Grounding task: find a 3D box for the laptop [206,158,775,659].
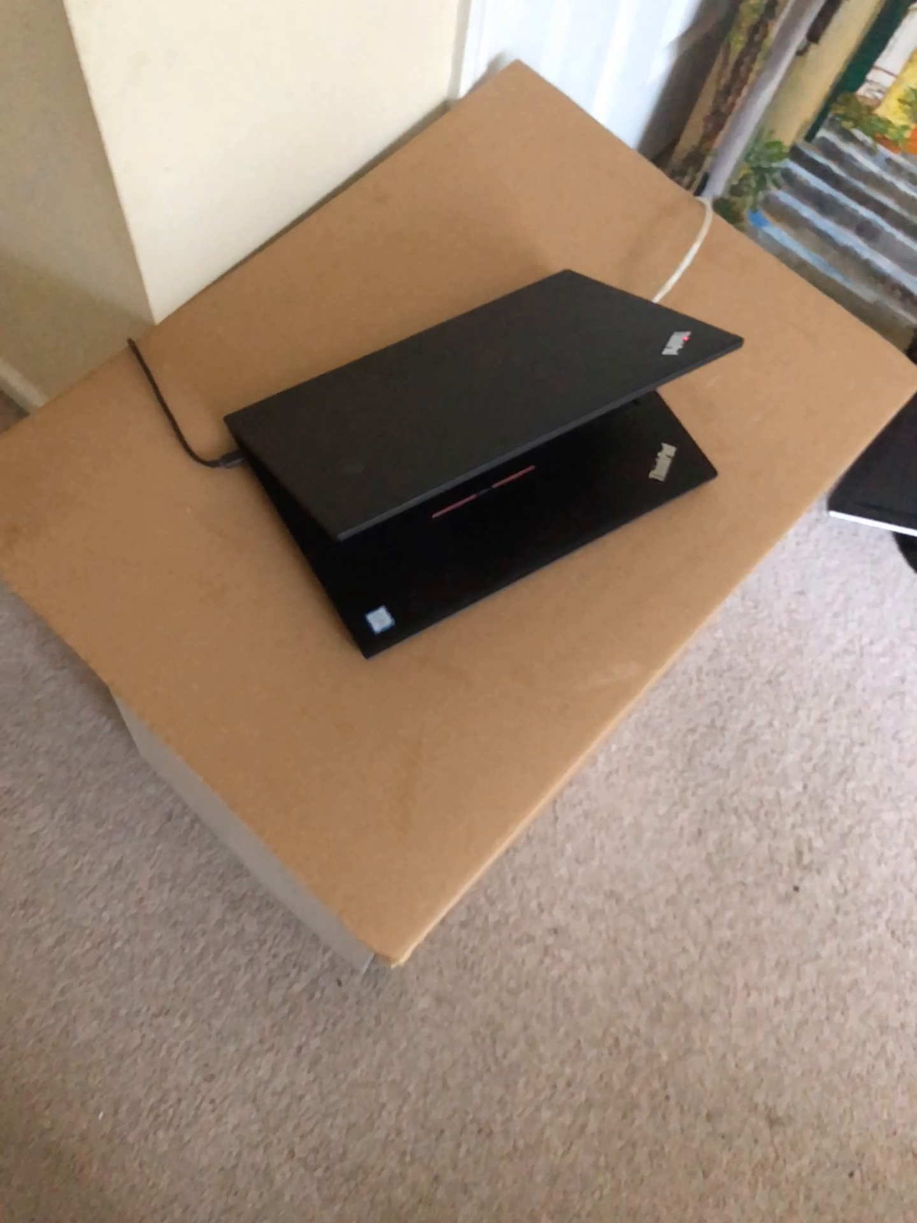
[{"bbox_3d":[0.019,-0.160,0.772,0.334,0.140,0.231,-28,72,-16],"label":"laptop"}]
